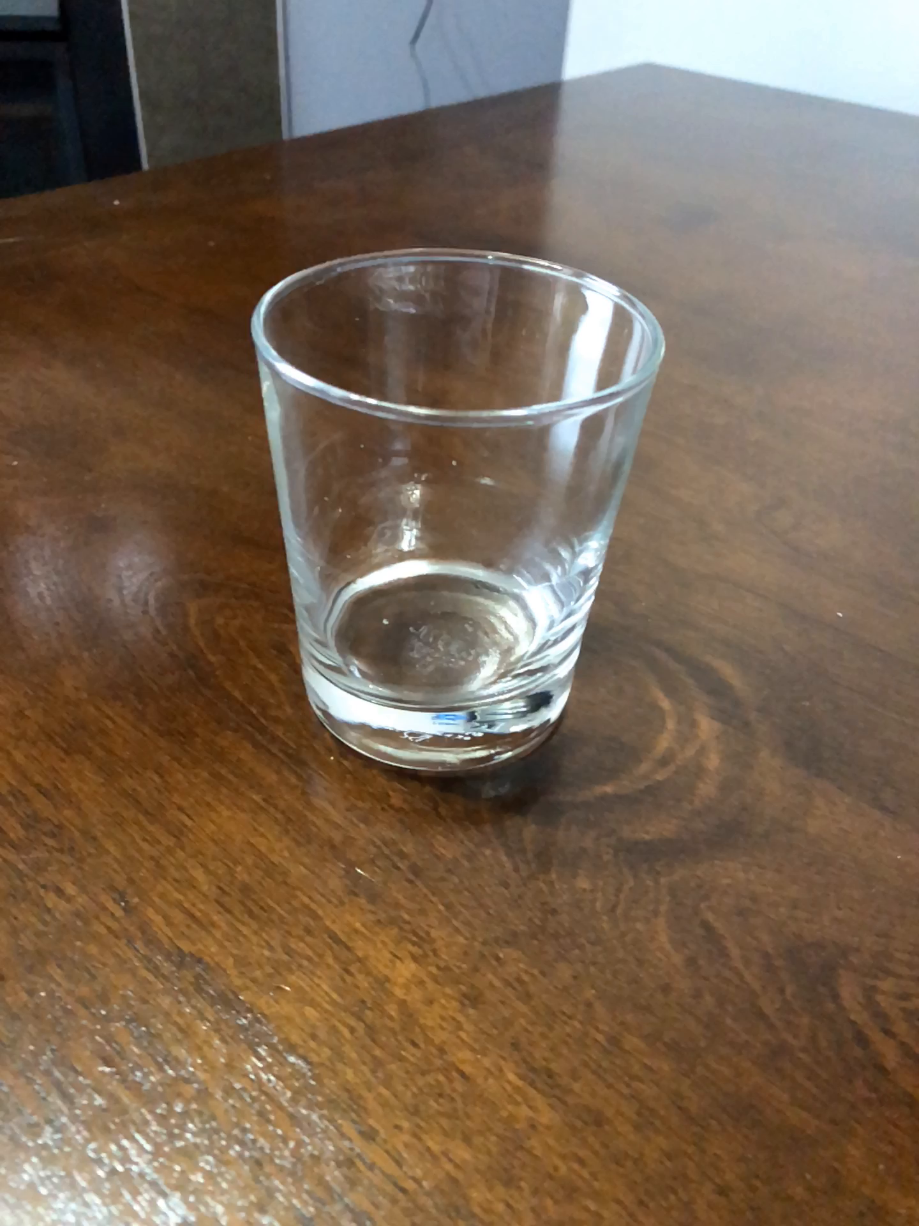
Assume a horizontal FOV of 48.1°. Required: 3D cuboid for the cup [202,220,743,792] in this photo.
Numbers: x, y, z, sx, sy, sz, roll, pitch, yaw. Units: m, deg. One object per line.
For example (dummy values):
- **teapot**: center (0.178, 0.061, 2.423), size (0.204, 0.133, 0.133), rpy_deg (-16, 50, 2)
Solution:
- **cup**: center (0.001, -0.026, 0.234), size (0.090, 0.090, 0.090), rpy_deg (3, 38, -2)
